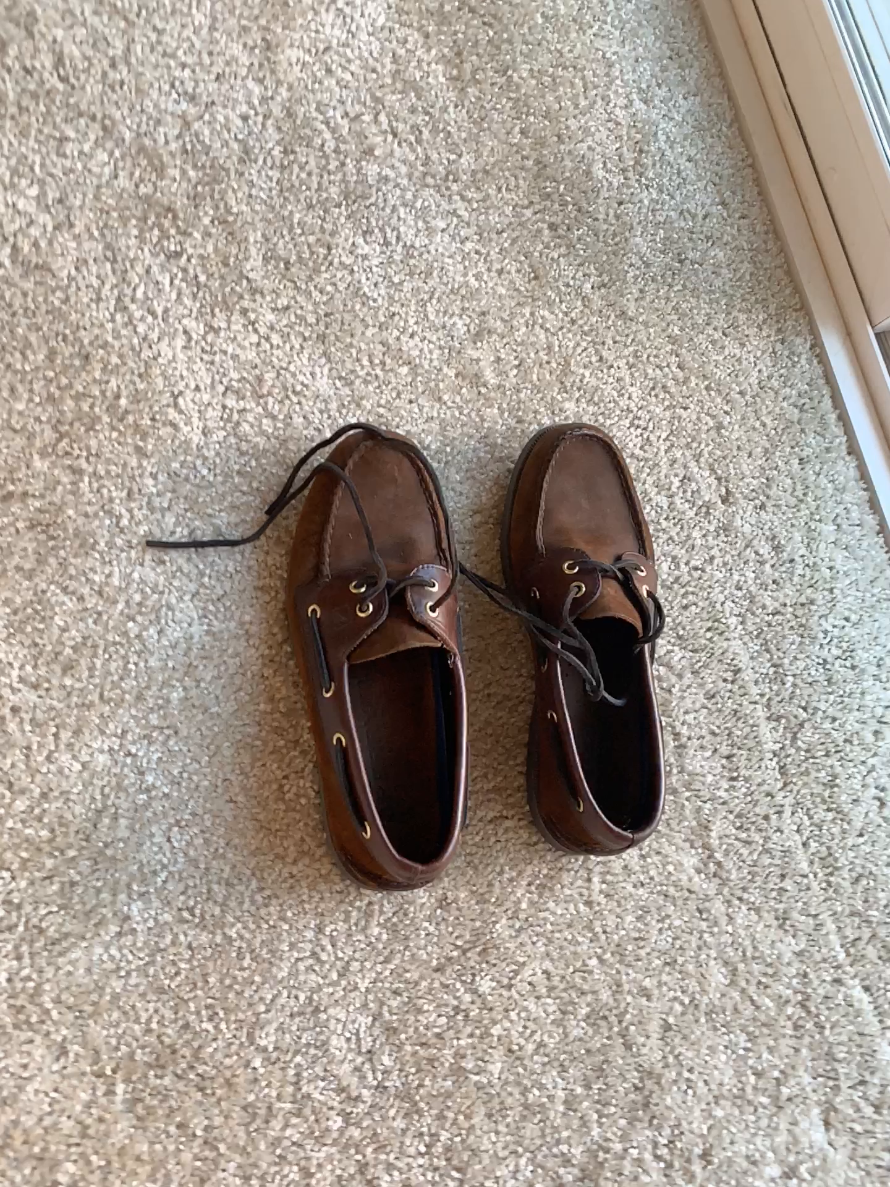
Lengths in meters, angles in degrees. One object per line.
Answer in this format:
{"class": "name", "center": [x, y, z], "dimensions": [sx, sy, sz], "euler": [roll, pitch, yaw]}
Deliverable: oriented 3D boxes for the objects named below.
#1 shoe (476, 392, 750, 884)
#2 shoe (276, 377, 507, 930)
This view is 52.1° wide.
{"class": "shoe", "center": [0.105, 0.027, 0.612], "dimensions": [0.110, 0.100, 0.300], "euler": [-3, 80, -17]}
{"class": "shoe", "center": [-0.042, 0.033, 0.584], "dimensions": [0.100, 0.100, 0.320], "euler": [-3, 80, -17]}
